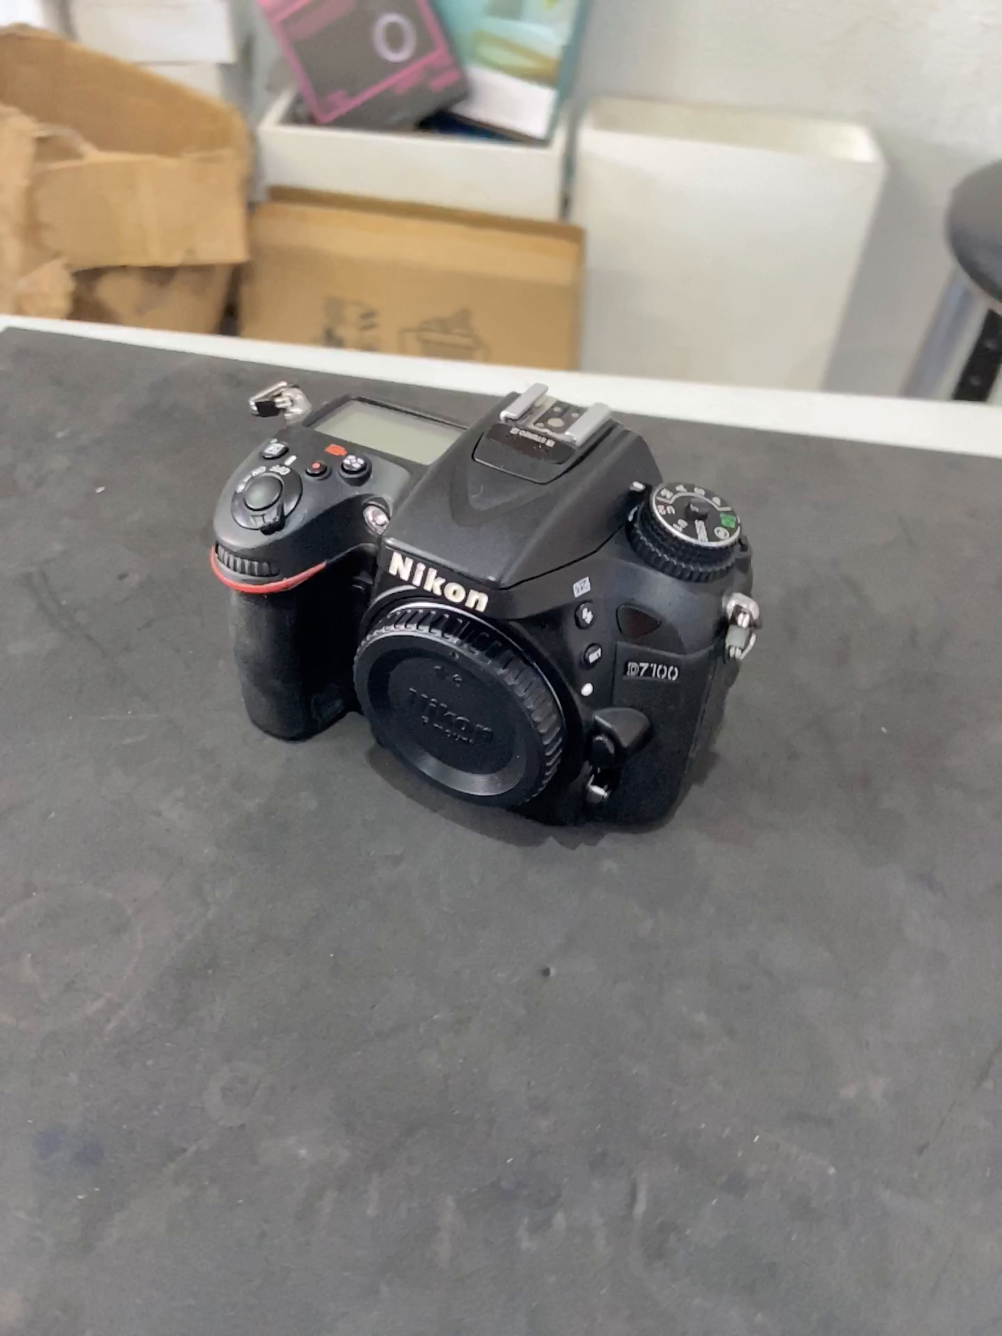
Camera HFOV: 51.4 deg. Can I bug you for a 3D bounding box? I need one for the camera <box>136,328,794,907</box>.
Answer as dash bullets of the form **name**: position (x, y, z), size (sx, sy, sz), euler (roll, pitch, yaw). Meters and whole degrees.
- **camera**: position (-0.009, -0.018, 0.285), size (0.140, 0.092, 0.078), euler (20, 46, 18)
